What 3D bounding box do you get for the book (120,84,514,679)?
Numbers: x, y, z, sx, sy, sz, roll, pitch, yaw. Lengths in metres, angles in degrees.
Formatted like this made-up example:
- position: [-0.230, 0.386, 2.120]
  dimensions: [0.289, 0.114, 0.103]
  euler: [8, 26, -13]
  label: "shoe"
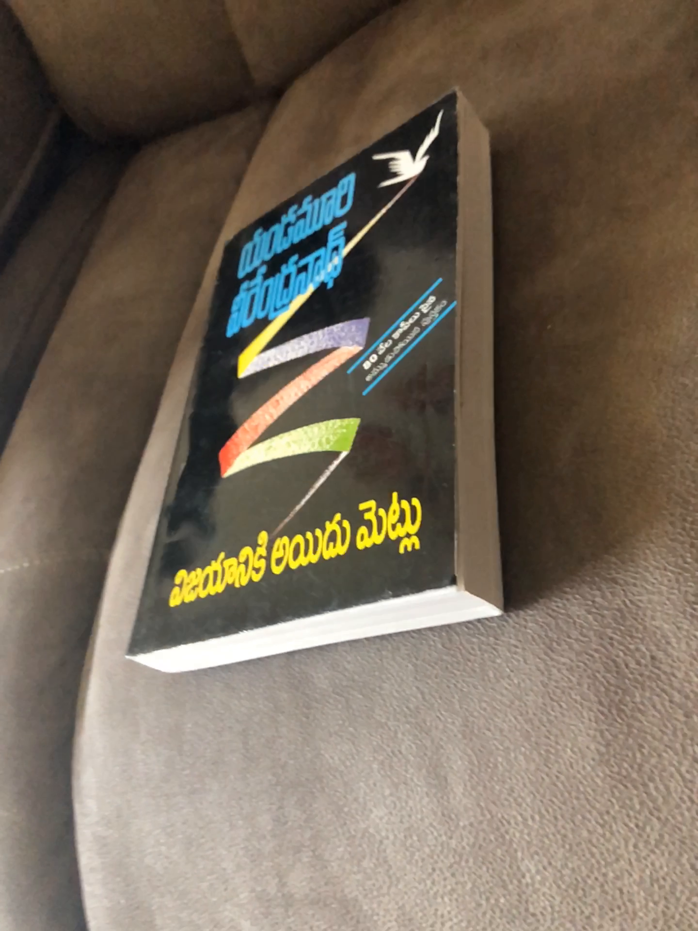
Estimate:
- position: [-0.011, -0.035, 0.303]
  dimensions: [0.144, 0.026, 0.212]
  euler: [-20, 51, 35]
  label: "book"
